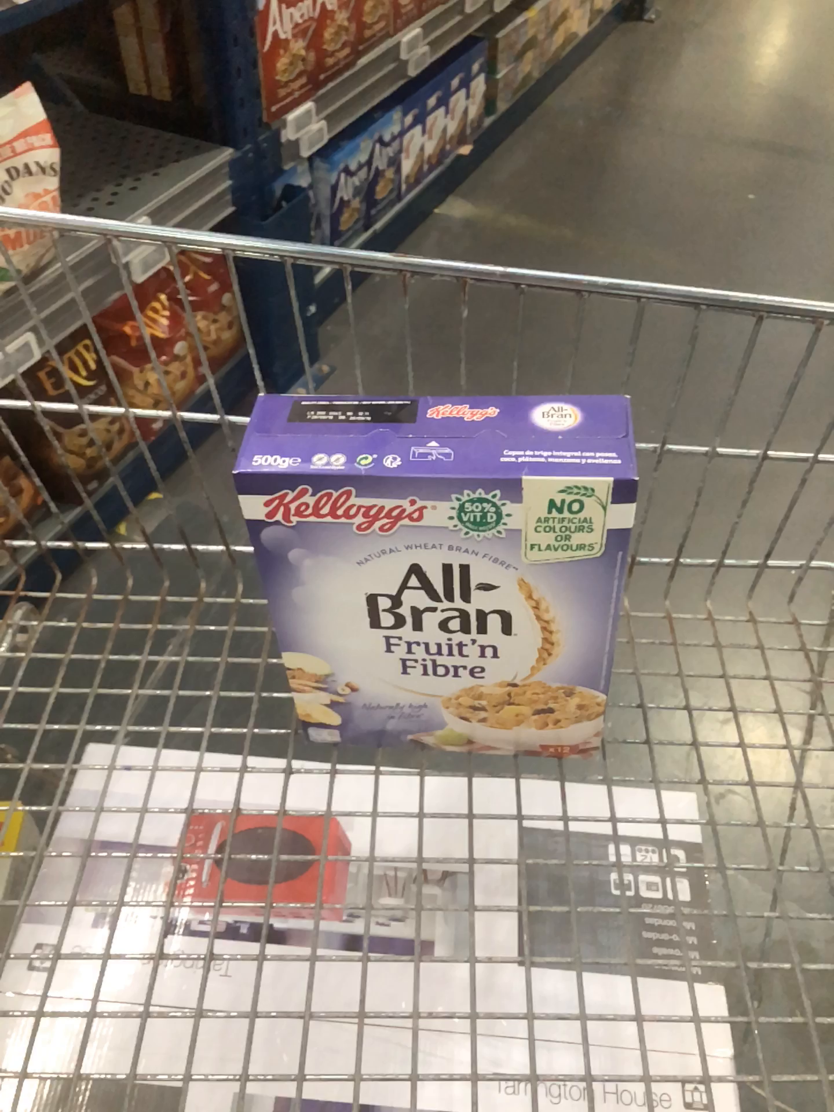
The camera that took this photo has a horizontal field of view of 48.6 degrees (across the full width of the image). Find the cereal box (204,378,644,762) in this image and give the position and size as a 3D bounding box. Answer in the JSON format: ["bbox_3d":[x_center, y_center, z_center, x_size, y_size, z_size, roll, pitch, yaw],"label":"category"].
[{"bbox_3d":[0.011,0.018,0.527,0.200,0.229,0.080,1,46,6],"label":"cereal box"}]
